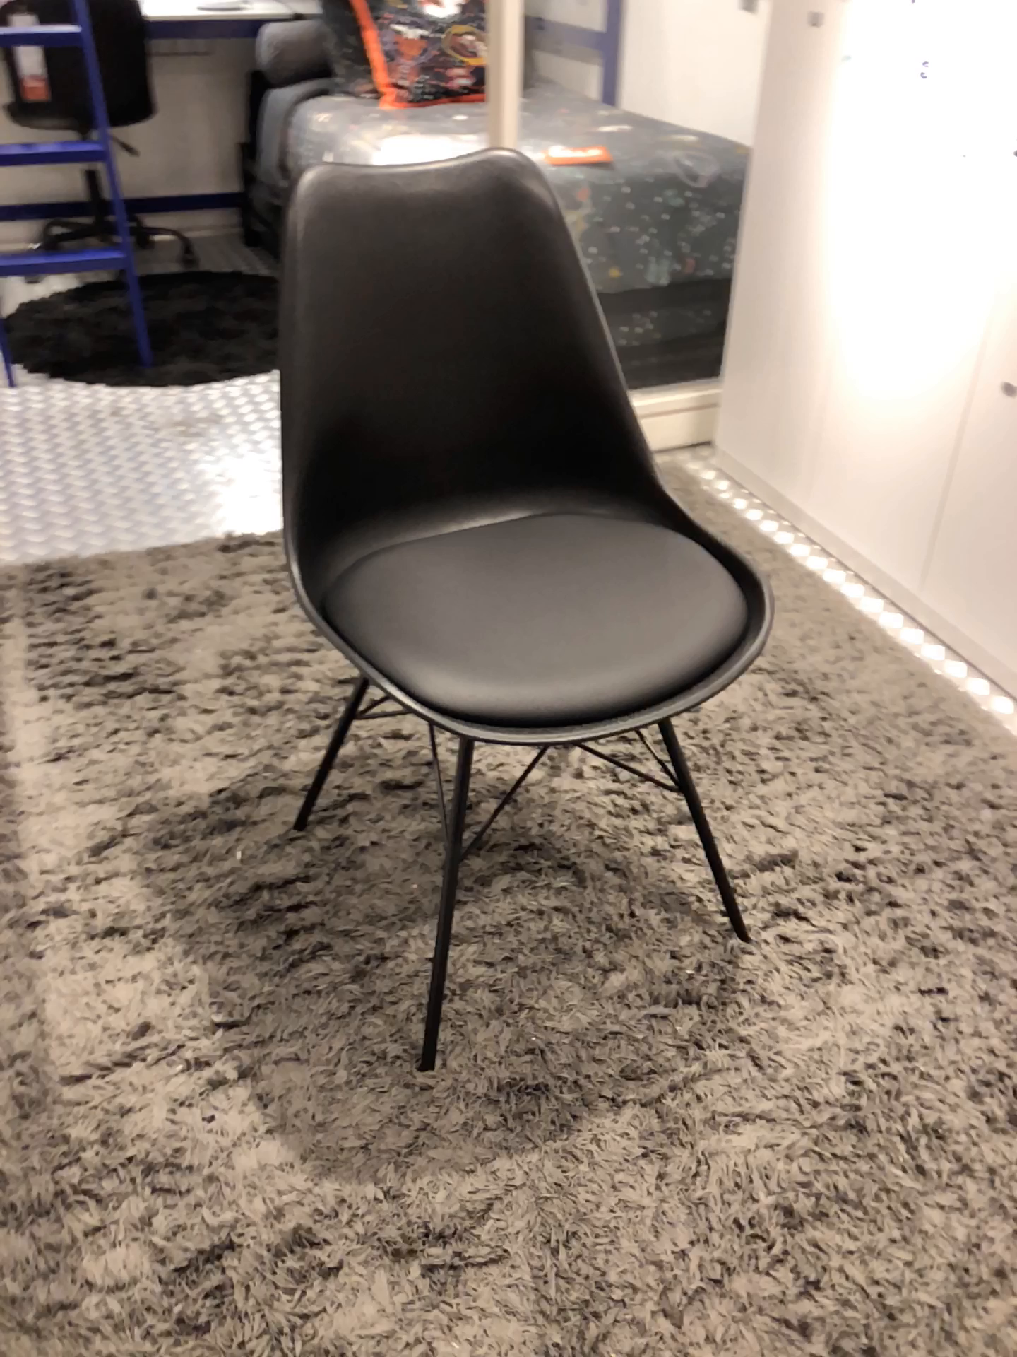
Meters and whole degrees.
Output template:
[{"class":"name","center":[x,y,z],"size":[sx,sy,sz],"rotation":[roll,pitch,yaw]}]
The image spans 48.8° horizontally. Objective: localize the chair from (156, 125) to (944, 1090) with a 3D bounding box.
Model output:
[{"class":"chair","center":[-0.009,-0.103,1.222],"size":[0.521,0.804,0.533],"rotation":[-13,37,-20]}]
